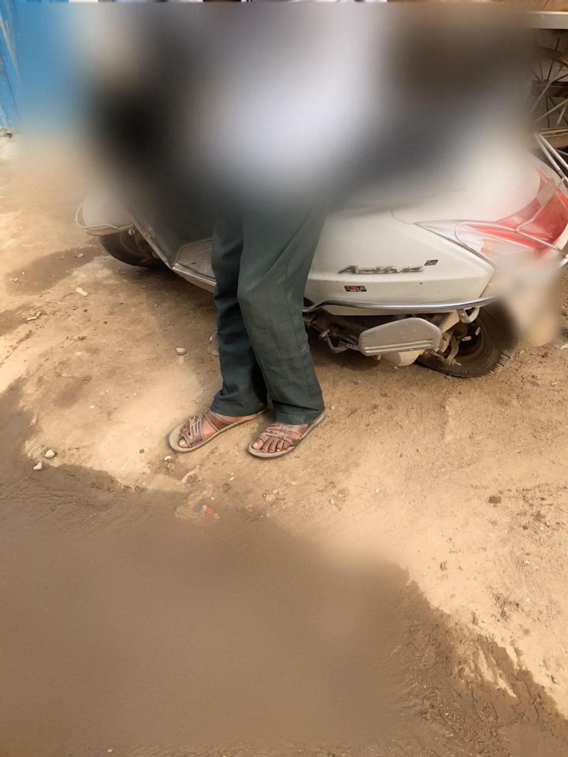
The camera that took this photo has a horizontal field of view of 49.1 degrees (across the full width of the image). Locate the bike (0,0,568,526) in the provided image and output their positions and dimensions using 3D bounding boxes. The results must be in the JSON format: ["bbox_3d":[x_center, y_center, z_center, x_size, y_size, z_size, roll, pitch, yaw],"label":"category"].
[{"bbox_3d":[-0.175,-0.490,1.686,1.575,1.112,0.660,19,43,30],"label":"bike"}]
